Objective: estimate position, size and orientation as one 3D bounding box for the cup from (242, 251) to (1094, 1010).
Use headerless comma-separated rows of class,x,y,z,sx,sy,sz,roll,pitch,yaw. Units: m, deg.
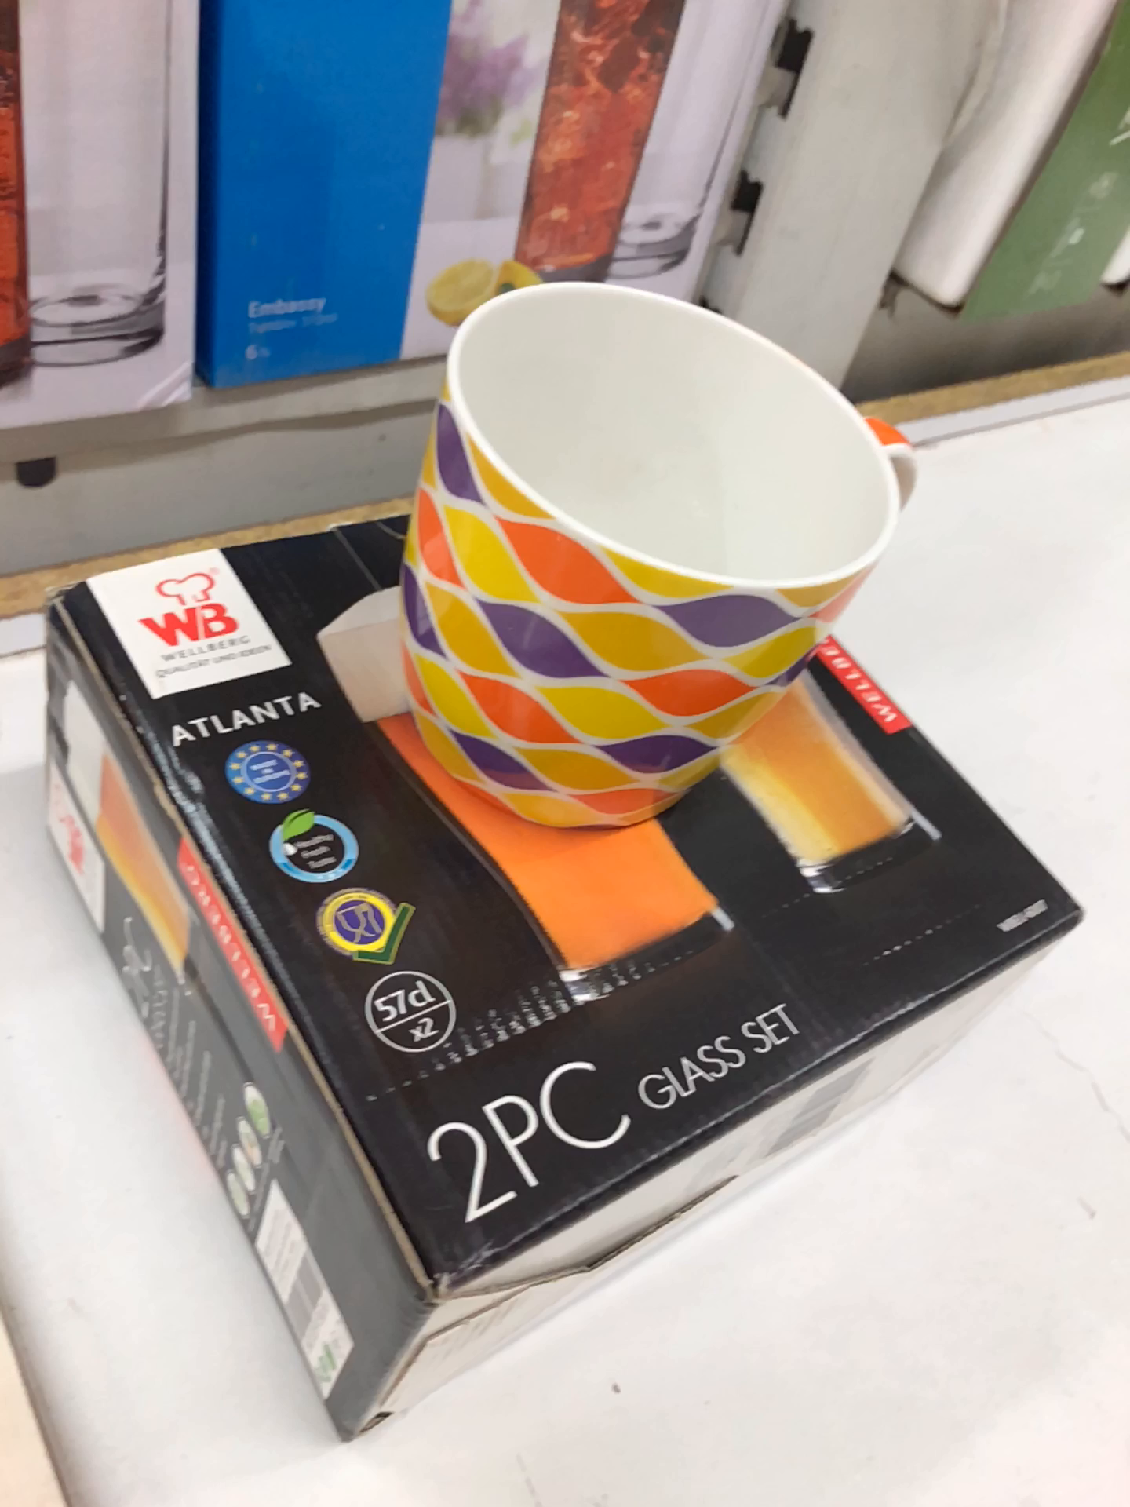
cup,0.015,-0.032,0.262,0.131,0.089,0.090,-22,58,-32
